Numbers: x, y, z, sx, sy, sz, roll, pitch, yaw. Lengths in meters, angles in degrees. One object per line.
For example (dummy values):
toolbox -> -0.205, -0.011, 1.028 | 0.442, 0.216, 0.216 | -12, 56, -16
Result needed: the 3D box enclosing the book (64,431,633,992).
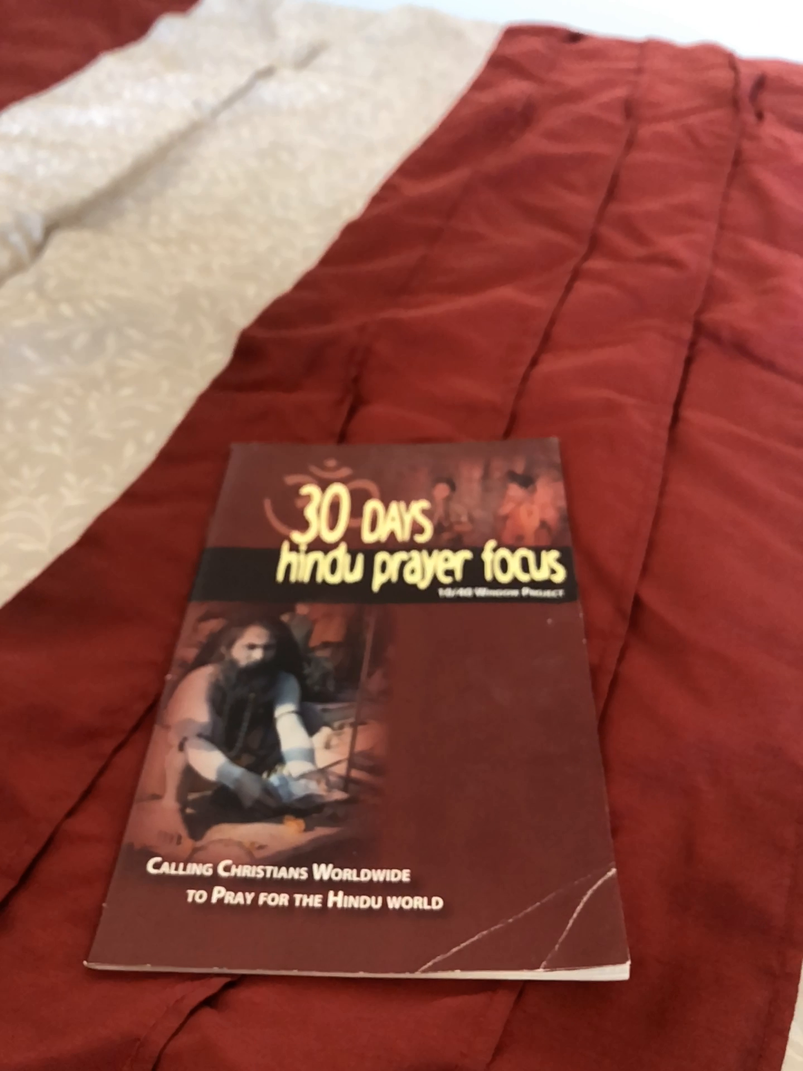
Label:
book -> -0.010, 0.036, 0.302 | 0.141, 0.010, 0.211 | 1, 45, 2
